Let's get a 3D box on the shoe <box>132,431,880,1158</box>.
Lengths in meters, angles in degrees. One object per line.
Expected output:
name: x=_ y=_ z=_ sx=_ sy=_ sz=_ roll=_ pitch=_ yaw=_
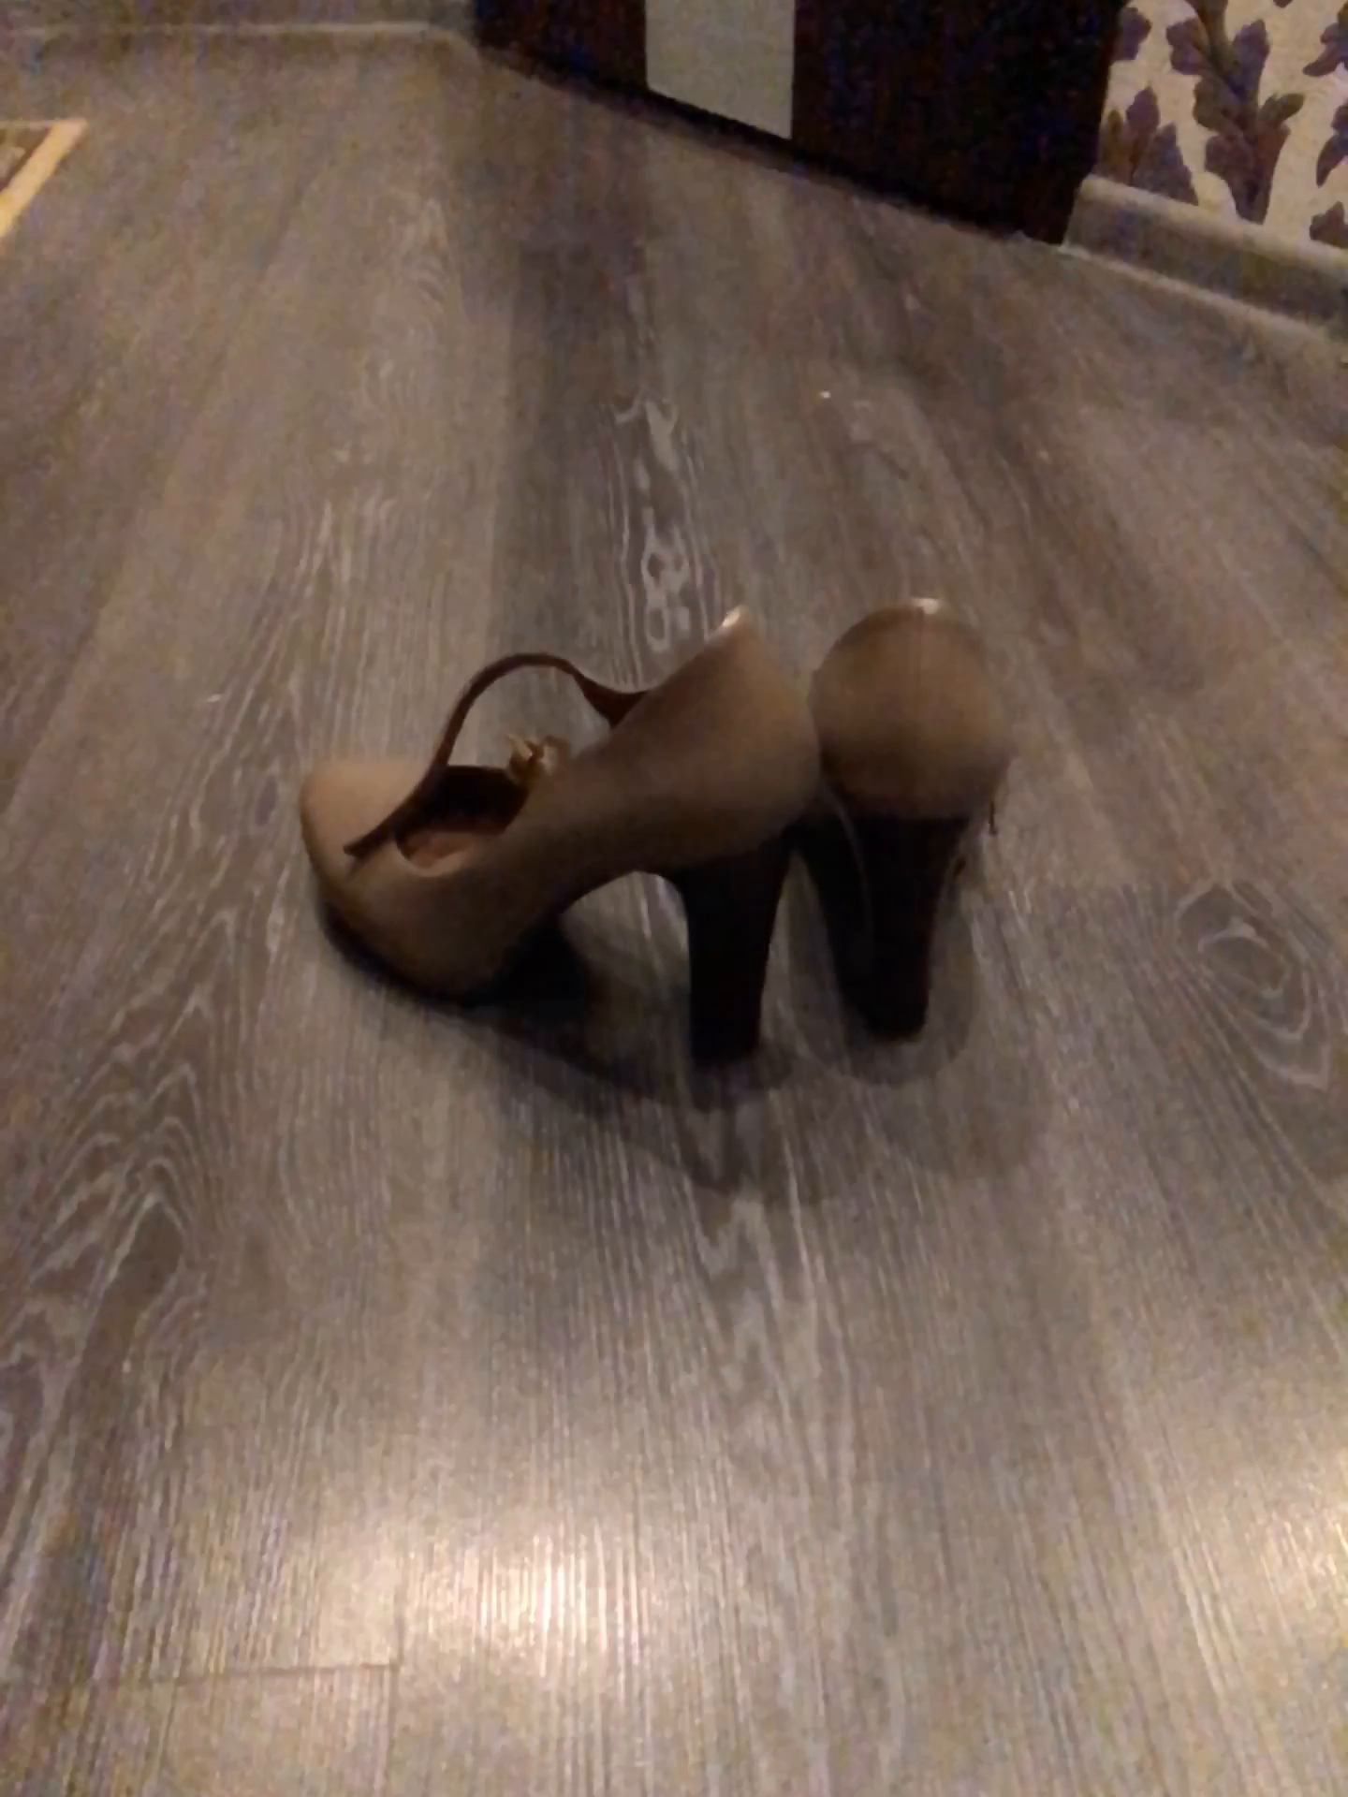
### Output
shoe: x=-0.054 y=-0.040 z=0.482 sx=0.211 sy=0.149 sz=0.090 roll=25 pitch=46 yaw=26

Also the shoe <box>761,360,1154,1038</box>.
shoe: x=0.084 y=-0.079 z=0.529 sx=0.090 sy=0.149 sz=0.211 roll=0 pitch=40 yaw=0
